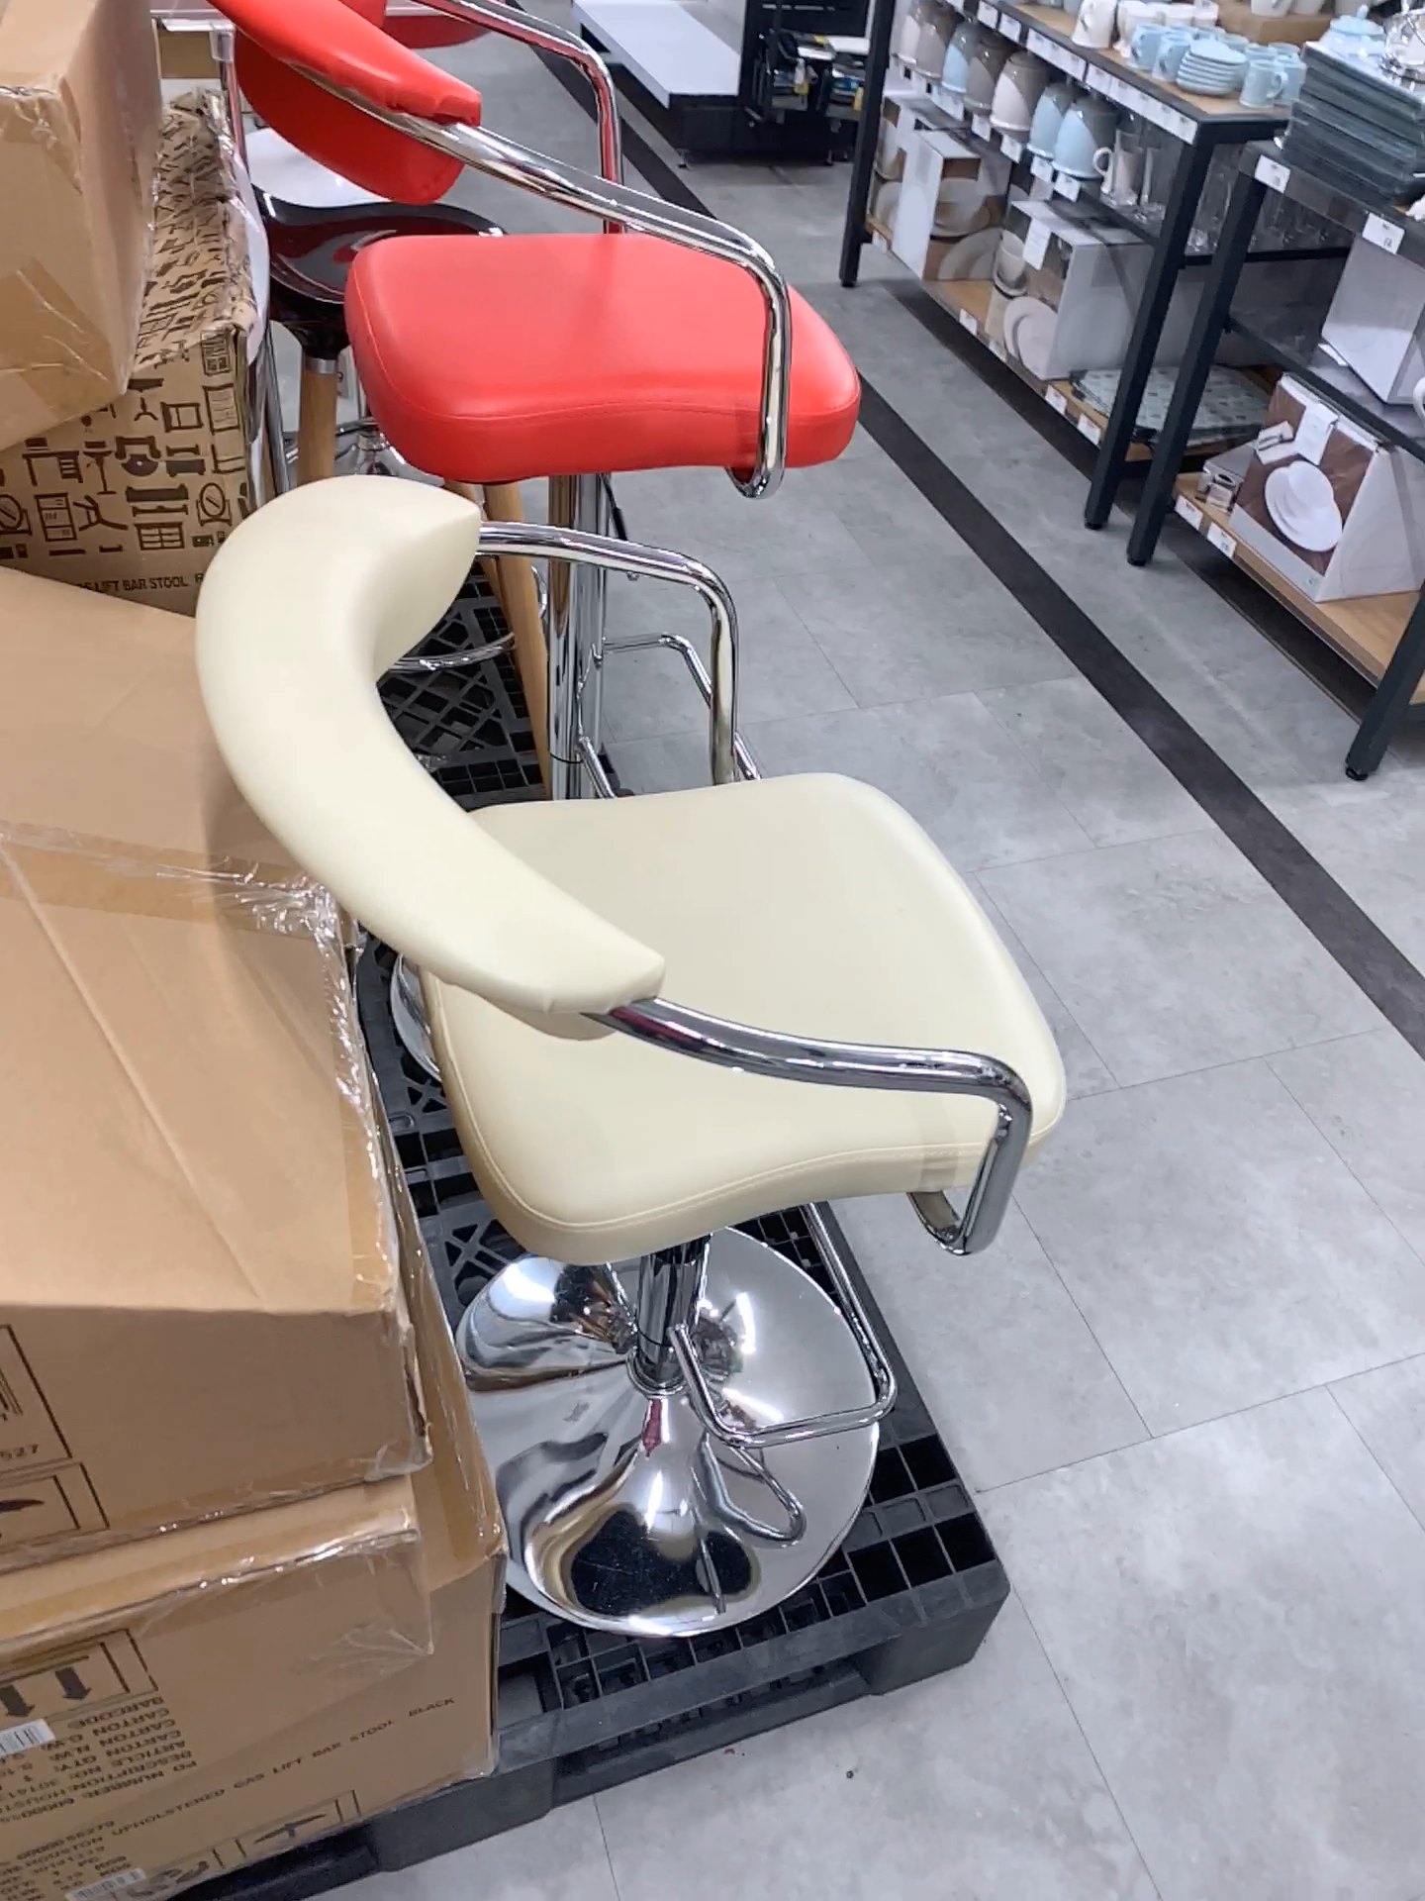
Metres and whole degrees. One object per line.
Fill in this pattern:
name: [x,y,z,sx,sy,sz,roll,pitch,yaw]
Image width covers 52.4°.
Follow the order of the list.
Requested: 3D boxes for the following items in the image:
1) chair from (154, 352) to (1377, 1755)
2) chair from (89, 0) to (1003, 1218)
chair: [-0.042,0.103,1.032,0.500,0.841,0.468,-10,46,-17]
chair: [-0.182,-0.314,1.352,0.520,1.059,0.478,-10,46,-17]
